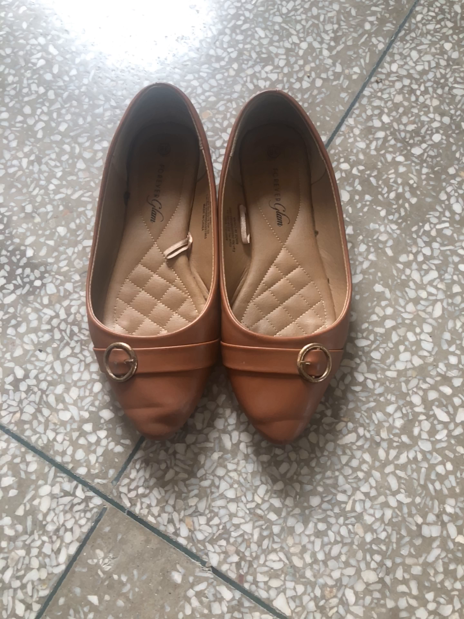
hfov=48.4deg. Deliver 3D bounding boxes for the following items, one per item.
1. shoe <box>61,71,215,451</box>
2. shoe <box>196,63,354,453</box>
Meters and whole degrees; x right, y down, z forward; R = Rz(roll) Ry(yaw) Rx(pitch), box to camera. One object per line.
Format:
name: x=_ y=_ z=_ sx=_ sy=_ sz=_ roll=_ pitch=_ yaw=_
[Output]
shoe: x=-0.065 y=-0.032 z=0.369 sx=0.090 sy=0.050 sz=0.250 roll=-3 pitch=87 yaw=6
shoe: x=0.029 y=-0.033 z=0.360 sx=0.090 sy=0.050 sz=0.250 roll=-3 pitch=87 yaw=6
